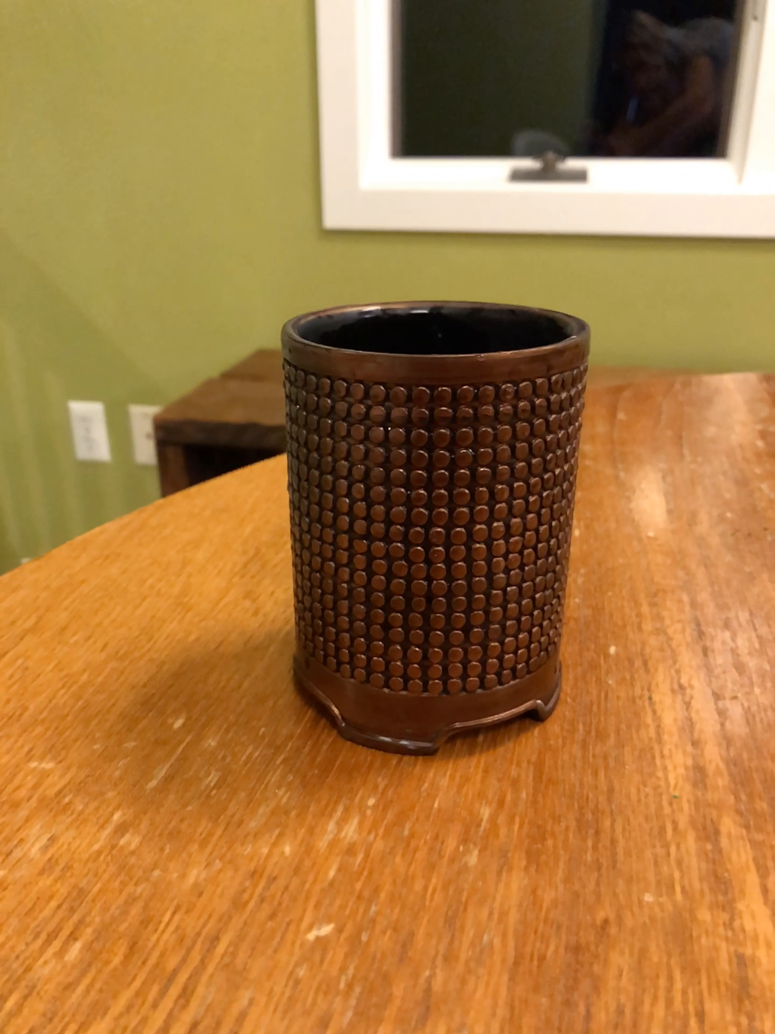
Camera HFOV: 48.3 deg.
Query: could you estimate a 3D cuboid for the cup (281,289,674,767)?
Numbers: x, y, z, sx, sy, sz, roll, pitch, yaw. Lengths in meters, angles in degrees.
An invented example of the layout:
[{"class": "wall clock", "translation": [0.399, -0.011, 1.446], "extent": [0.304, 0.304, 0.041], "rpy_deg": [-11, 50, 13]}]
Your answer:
[{"class": "cup", "translation": [0.015, -0.003, 0.222], "extent": [0.077, 0.097, 0.073], "rpy_deg": [0, 22, 0]}]
